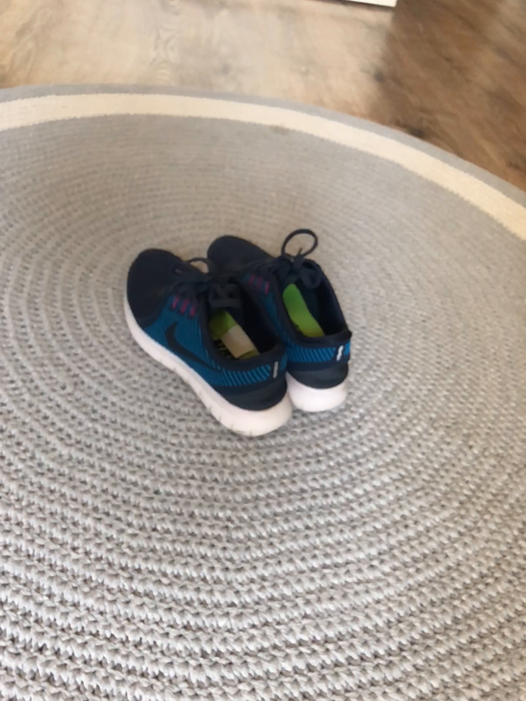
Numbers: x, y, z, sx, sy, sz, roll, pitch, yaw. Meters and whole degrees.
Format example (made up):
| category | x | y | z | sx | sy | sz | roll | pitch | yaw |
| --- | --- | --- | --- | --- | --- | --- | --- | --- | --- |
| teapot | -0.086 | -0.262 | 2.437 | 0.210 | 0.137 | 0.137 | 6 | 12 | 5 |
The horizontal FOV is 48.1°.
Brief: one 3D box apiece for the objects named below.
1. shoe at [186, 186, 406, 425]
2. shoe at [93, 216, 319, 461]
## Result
| category | x | y | z | sx | sy | sz | roll | pitch | yaw |
| --- | --- | --- | --- | --- | --- | --- | --- | --- | --- |
| shoe | 0.017 | -0.062 | 0.607 | 0.100 | 0.080 | 0.270 | -13 | 48 | -24 |
| shoe | -0.067 | -0.025 | 0.575 | 0.100 | 0.080 | 0.244 | -20 | 52 | -30 |
